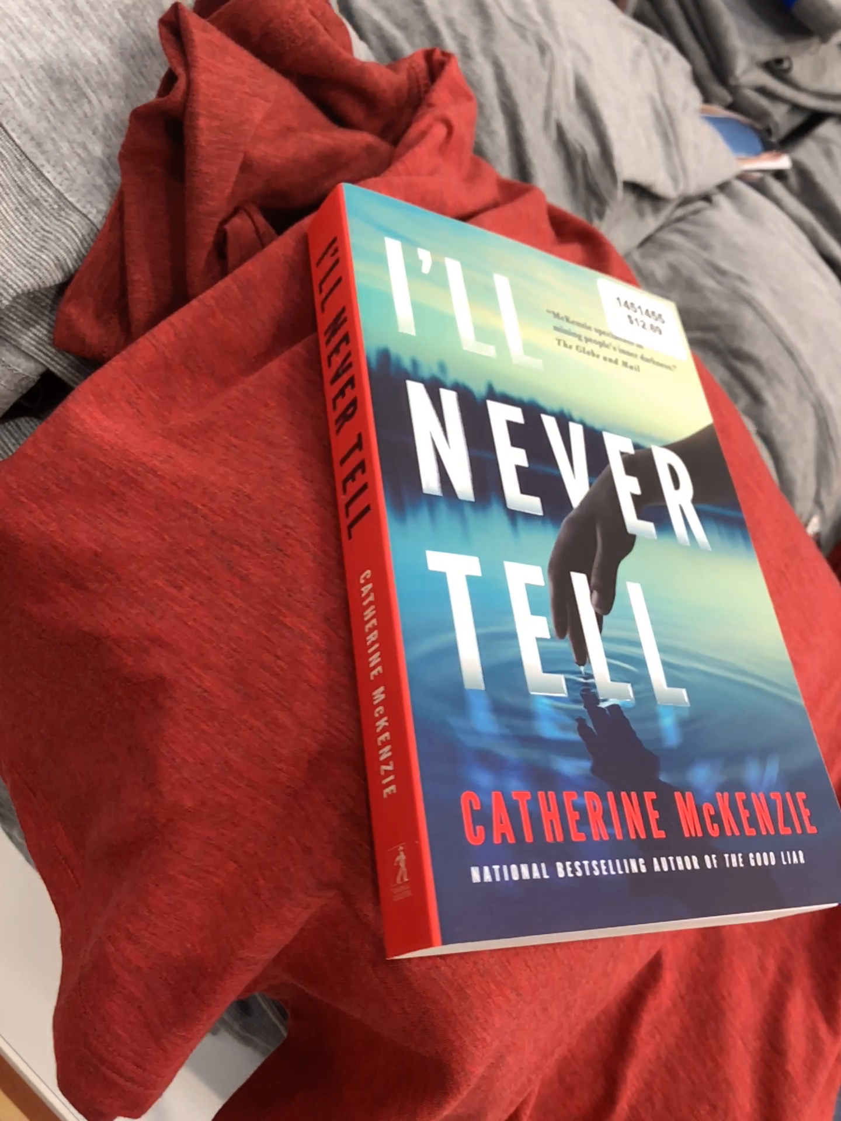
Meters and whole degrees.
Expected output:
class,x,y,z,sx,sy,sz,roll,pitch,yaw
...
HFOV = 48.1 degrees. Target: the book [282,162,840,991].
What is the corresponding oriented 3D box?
class,x,y,z,sx,sy,sz,roll,pitch,yaw
book,0.041,-0.002,0.266,0.144,0.032,0.208,8,59,-31
